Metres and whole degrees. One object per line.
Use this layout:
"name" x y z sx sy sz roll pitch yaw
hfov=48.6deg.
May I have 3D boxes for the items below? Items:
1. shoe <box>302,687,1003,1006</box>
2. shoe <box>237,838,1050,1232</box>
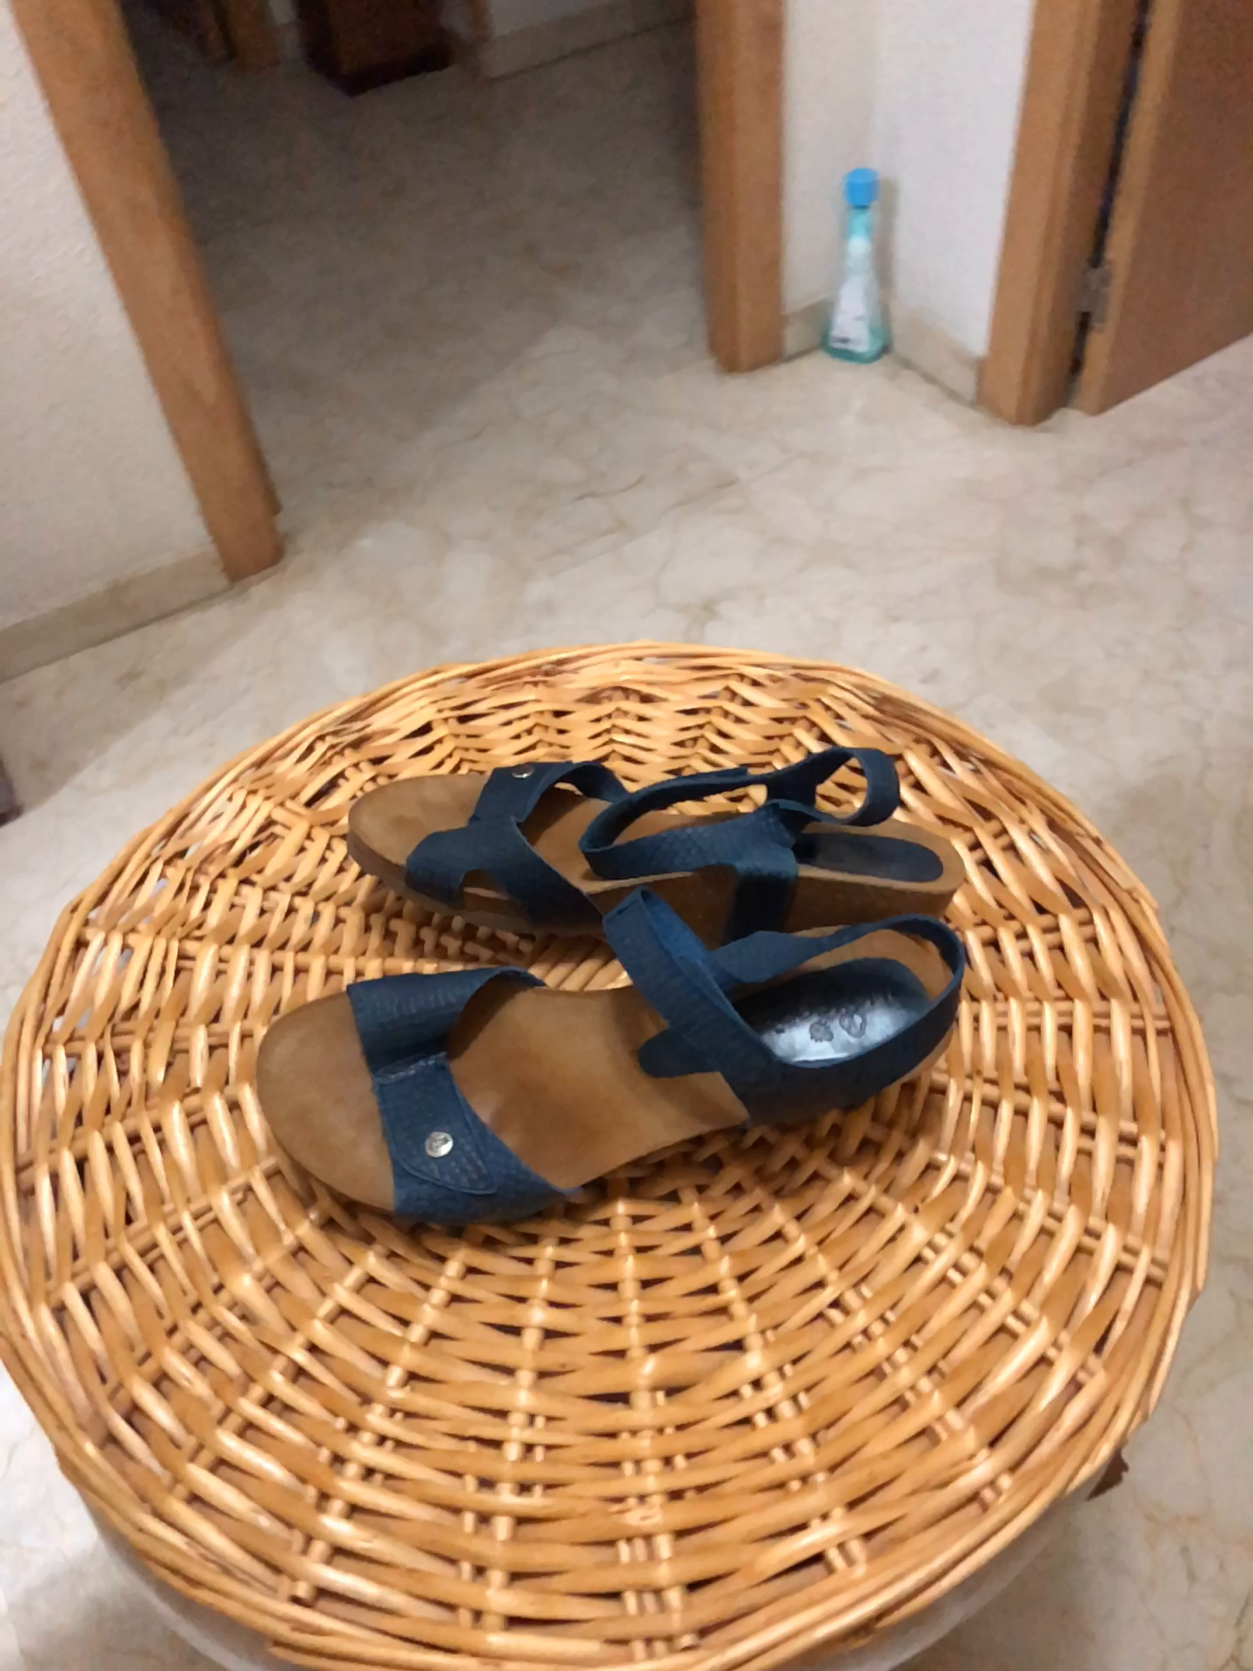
"shoe" 0.013 0.002 0.600 0.280 0.060 0.090 6 57 11
"shoe" 0.003 0.075 0.523 0.280 0.060 0.090 -8 55 -1
